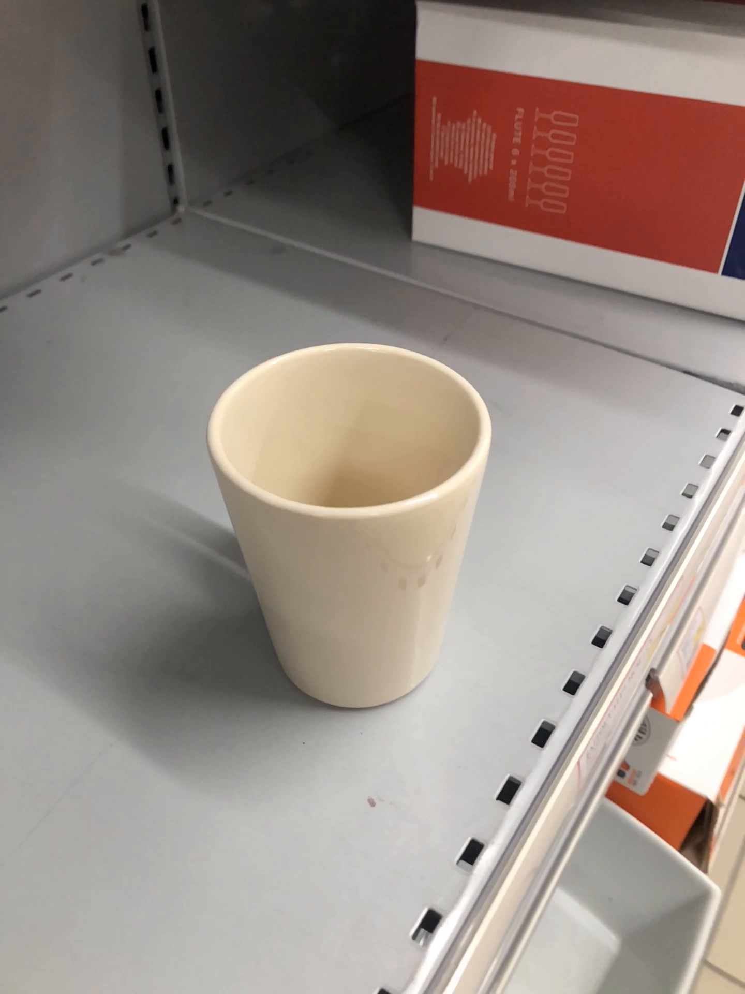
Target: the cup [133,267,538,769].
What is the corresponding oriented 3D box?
[{"bbox_3d":[-0.018,0.001,0.282,0.082,0.099,0.120,-17,45,-18],"label":"cup"}]
